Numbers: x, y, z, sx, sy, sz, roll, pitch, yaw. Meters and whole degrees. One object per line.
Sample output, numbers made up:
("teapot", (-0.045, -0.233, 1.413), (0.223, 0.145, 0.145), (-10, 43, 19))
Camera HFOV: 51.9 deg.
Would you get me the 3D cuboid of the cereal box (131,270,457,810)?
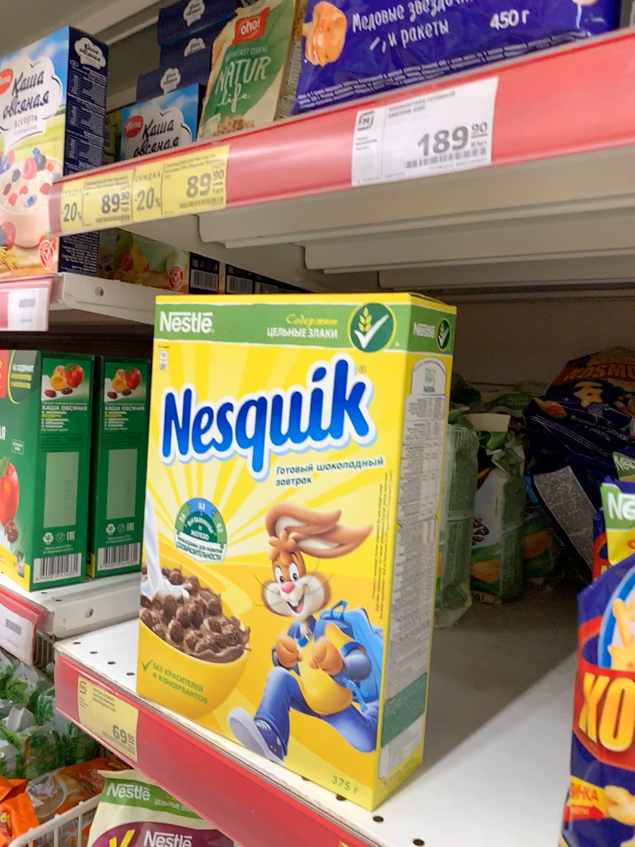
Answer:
("cereal box", (-0.024, 0.051, 0.401), (0.190, 0.270, 0.060), (6, 5, 36))
